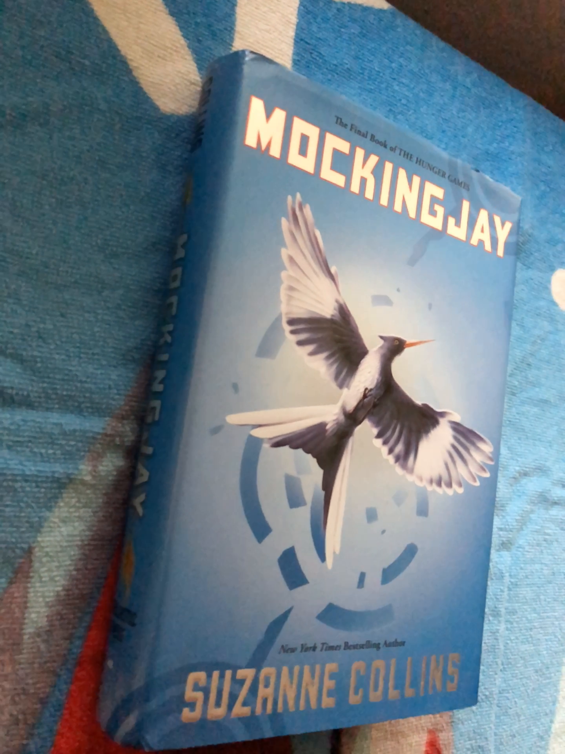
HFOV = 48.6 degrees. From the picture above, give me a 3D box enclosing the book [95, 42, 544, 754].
[{"bbox_3d":[0.025,0.013,0.224,0.140,0.040,0.200,13,81,-32],"label":"book"}]
